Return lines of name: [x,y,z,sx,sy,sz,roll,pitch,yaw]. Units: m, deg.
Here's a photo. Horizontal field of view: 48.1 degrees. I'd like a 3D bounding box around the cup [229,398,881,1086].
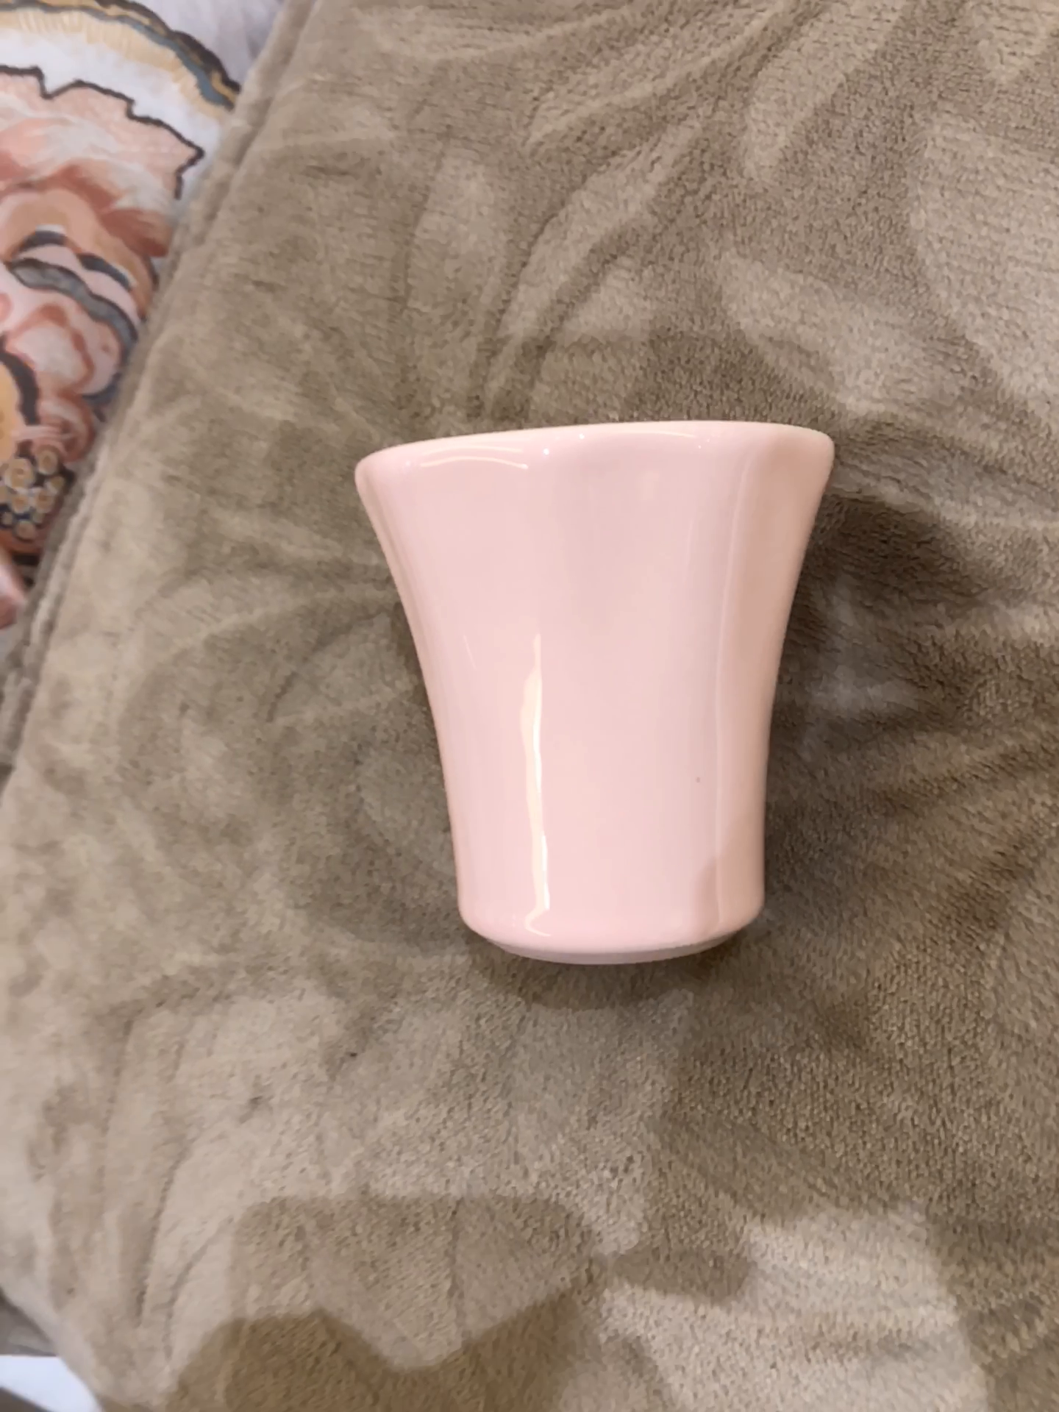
cup: [-0.001,0.002,0.215,0.100,0.070,0.090,2,95,57]
